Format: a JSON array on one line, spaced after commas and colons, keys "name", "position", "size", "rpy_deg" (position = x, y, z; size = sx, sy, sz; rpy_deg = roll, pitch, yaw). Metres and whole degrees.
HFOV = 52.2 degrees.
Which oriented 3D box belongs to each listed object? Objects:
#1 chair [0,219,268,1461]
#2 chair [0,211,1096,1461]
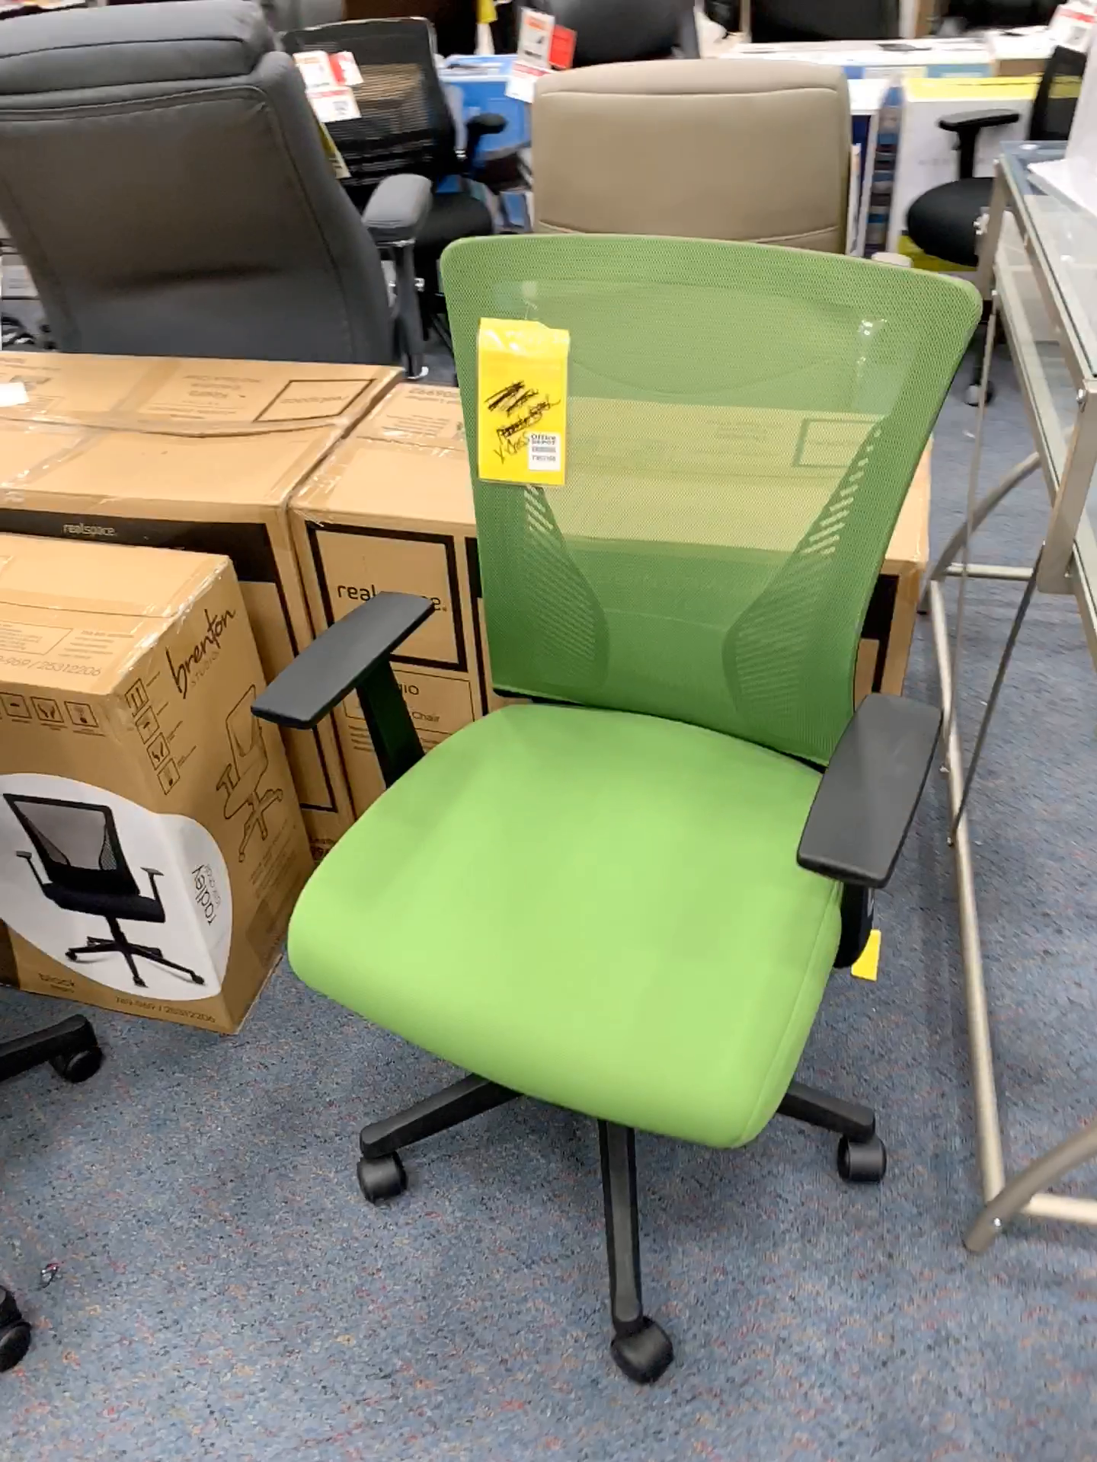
[{"name": "chair", "position": [-0.802, 0.182, 0.968], "size": [0.645, 0.971, 0.660], "rpy_deg": [15, 42, 22]}, {"name": "chair", "position": [0.068, 0.084, 1.076], "size": [0.645, 0.912, 0.600], "rpy_deg": [15, 42, 22]}]
